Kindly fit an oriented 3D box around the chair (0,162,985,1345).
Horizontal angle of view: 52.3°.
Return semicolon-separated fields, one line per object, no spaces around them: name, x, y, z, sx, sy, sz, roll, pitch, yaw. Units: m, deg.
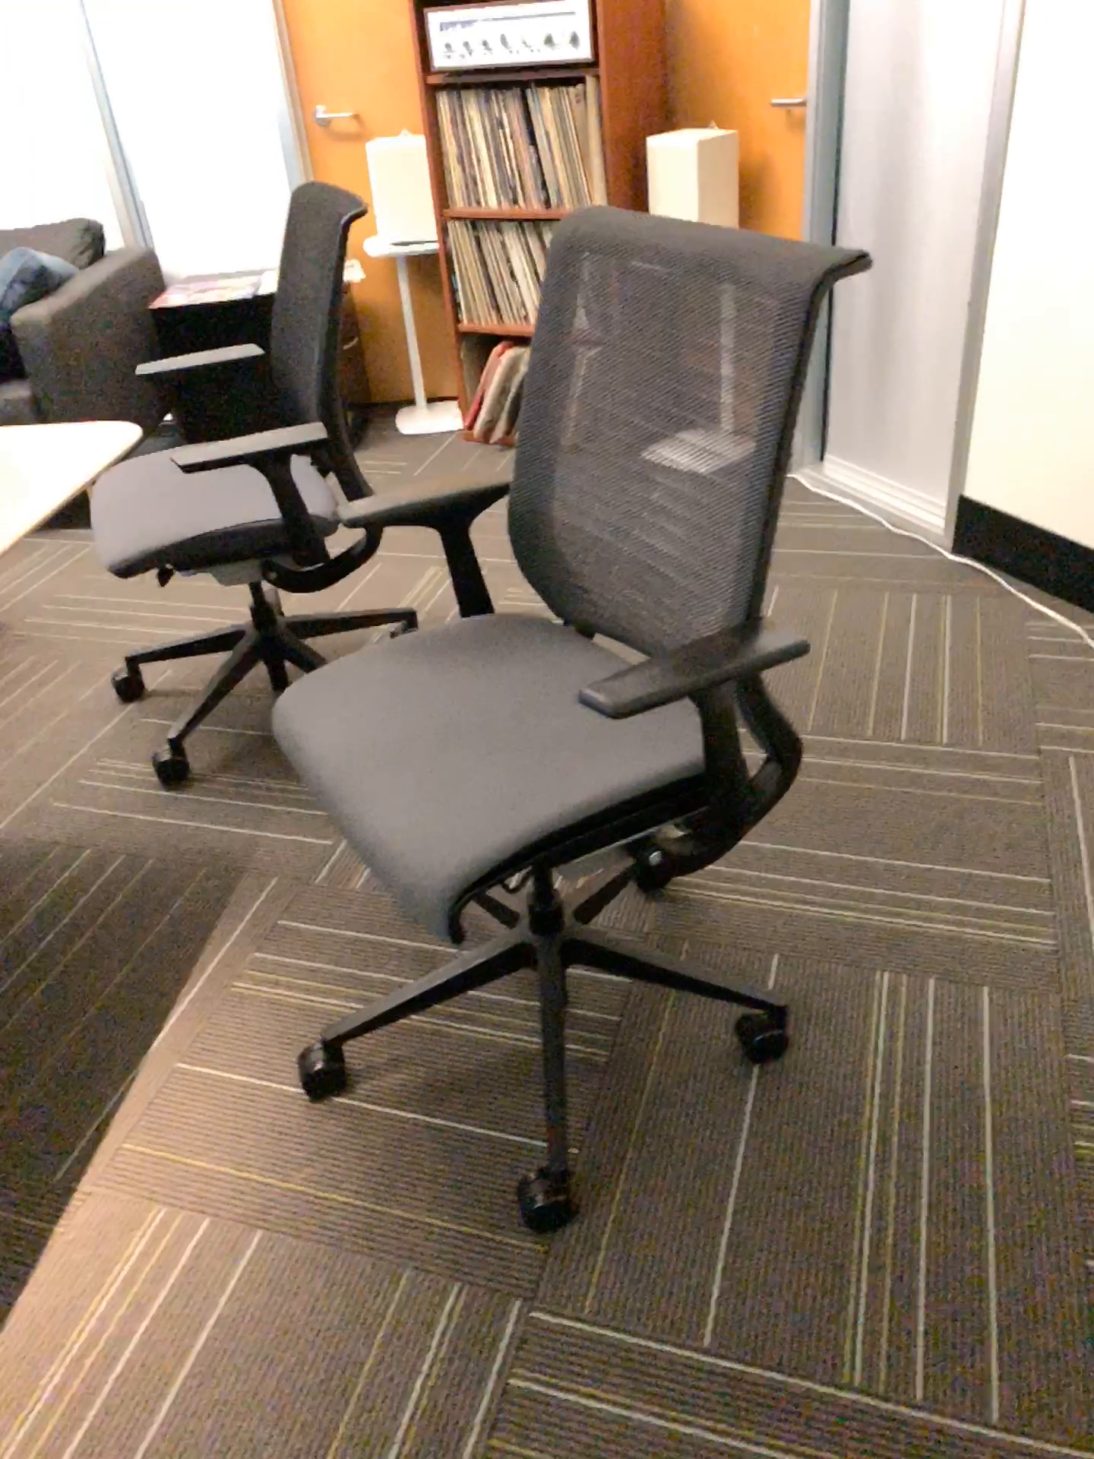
chair;-0.087;-0.045;1.477;0.801;1.113;0.795;-25;39;-26
